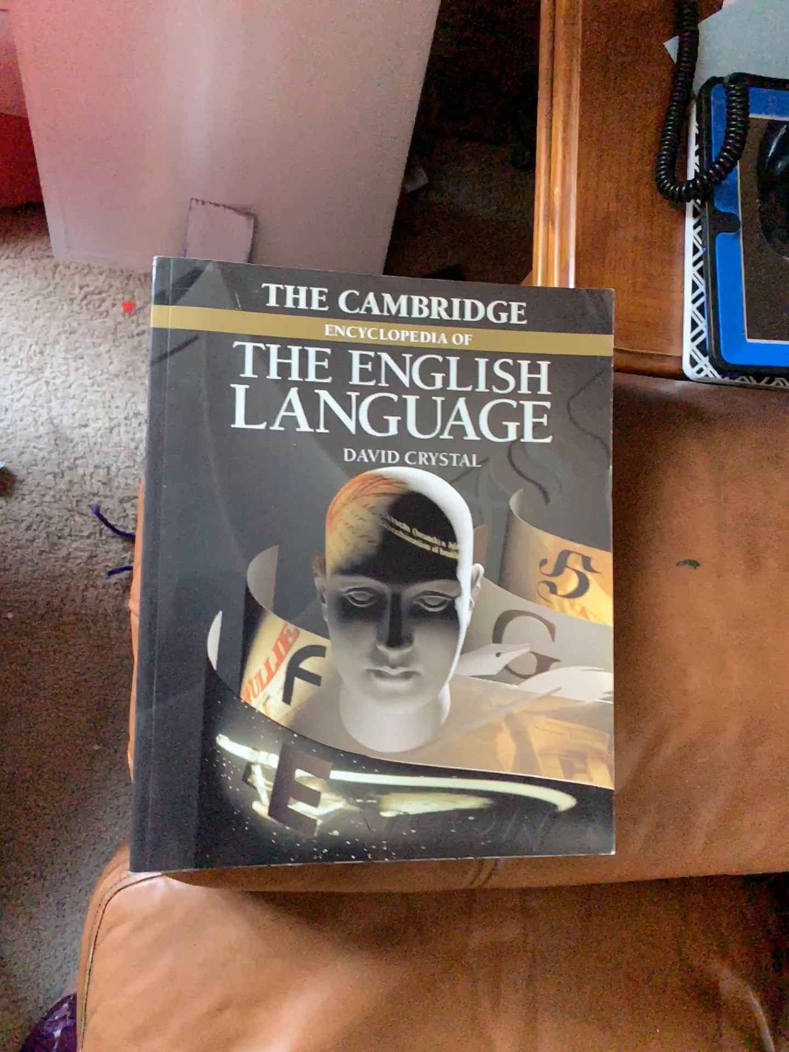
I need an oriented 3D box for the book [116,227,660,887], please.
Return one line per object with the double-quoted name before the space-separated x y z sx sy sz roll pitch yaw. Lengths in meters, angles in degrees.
"book" 0.002 0.014 0.391 0.240 0.050 0.280 2 84 -11
